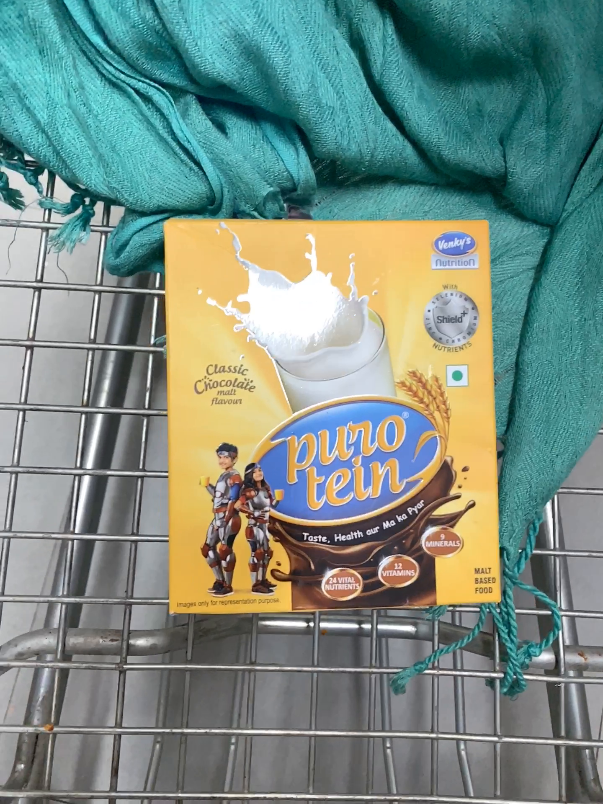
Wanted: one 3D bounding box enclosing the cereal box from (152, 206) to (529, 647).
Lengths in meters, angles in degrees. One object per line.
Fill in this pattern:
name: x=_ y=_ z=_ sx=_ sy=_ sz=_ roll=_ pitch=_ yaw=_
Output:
cereal box: x=0.014 y=0.008 z=0.256 sx=0.140 sy=0.050 sz=0.160 roll=0 pitch=89 yaw=-5
